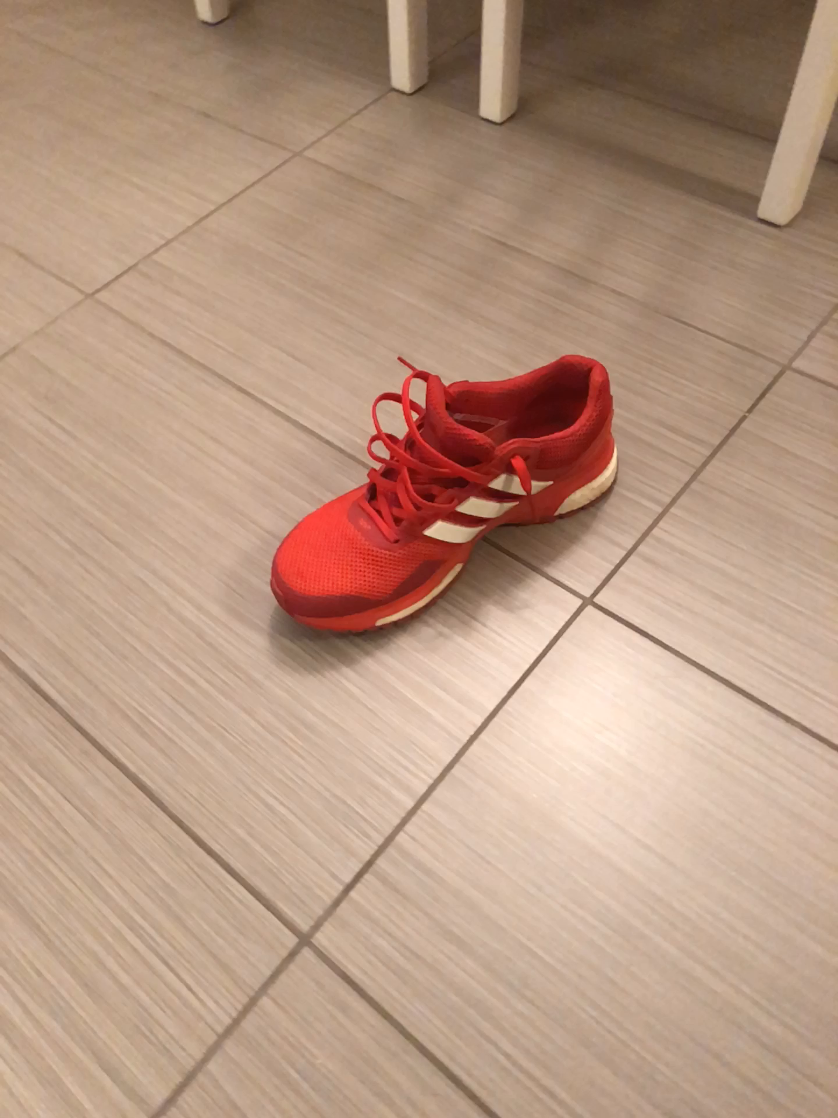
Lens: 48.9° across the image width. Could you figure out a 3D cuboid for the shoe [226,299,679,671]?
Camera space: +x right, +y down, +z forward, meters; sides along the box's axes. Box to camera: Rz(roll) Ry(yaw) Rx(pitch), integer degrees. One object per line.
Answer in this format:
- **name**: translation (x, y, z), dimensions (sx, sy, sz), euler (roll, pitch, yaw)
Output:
- **shoe**: translation (0.028, -0.059, 0.668), dimensions (0.290, 0.100, 0.120), euler (-29, 56, -14)
